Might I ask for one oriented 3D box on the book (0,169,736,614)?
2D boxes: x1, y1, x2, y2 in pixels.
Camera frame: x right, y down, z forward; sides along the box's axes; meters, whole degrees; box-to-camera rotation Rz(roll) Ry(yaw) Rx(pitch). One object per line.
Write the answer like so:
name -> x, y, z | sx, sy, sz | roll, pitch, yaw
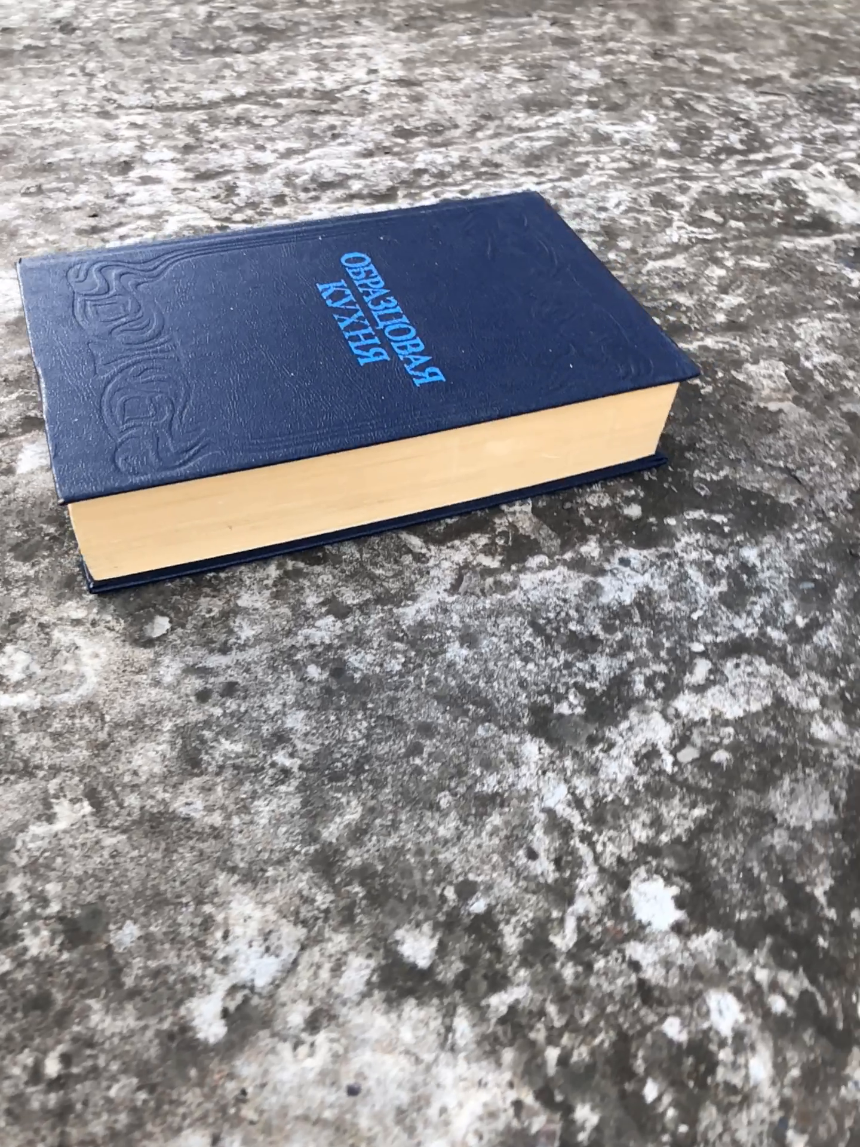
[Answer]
book -> -0.028, -0.076, 0.327 | 0.210, 0.040, 0.140 | -13, 52, -17
